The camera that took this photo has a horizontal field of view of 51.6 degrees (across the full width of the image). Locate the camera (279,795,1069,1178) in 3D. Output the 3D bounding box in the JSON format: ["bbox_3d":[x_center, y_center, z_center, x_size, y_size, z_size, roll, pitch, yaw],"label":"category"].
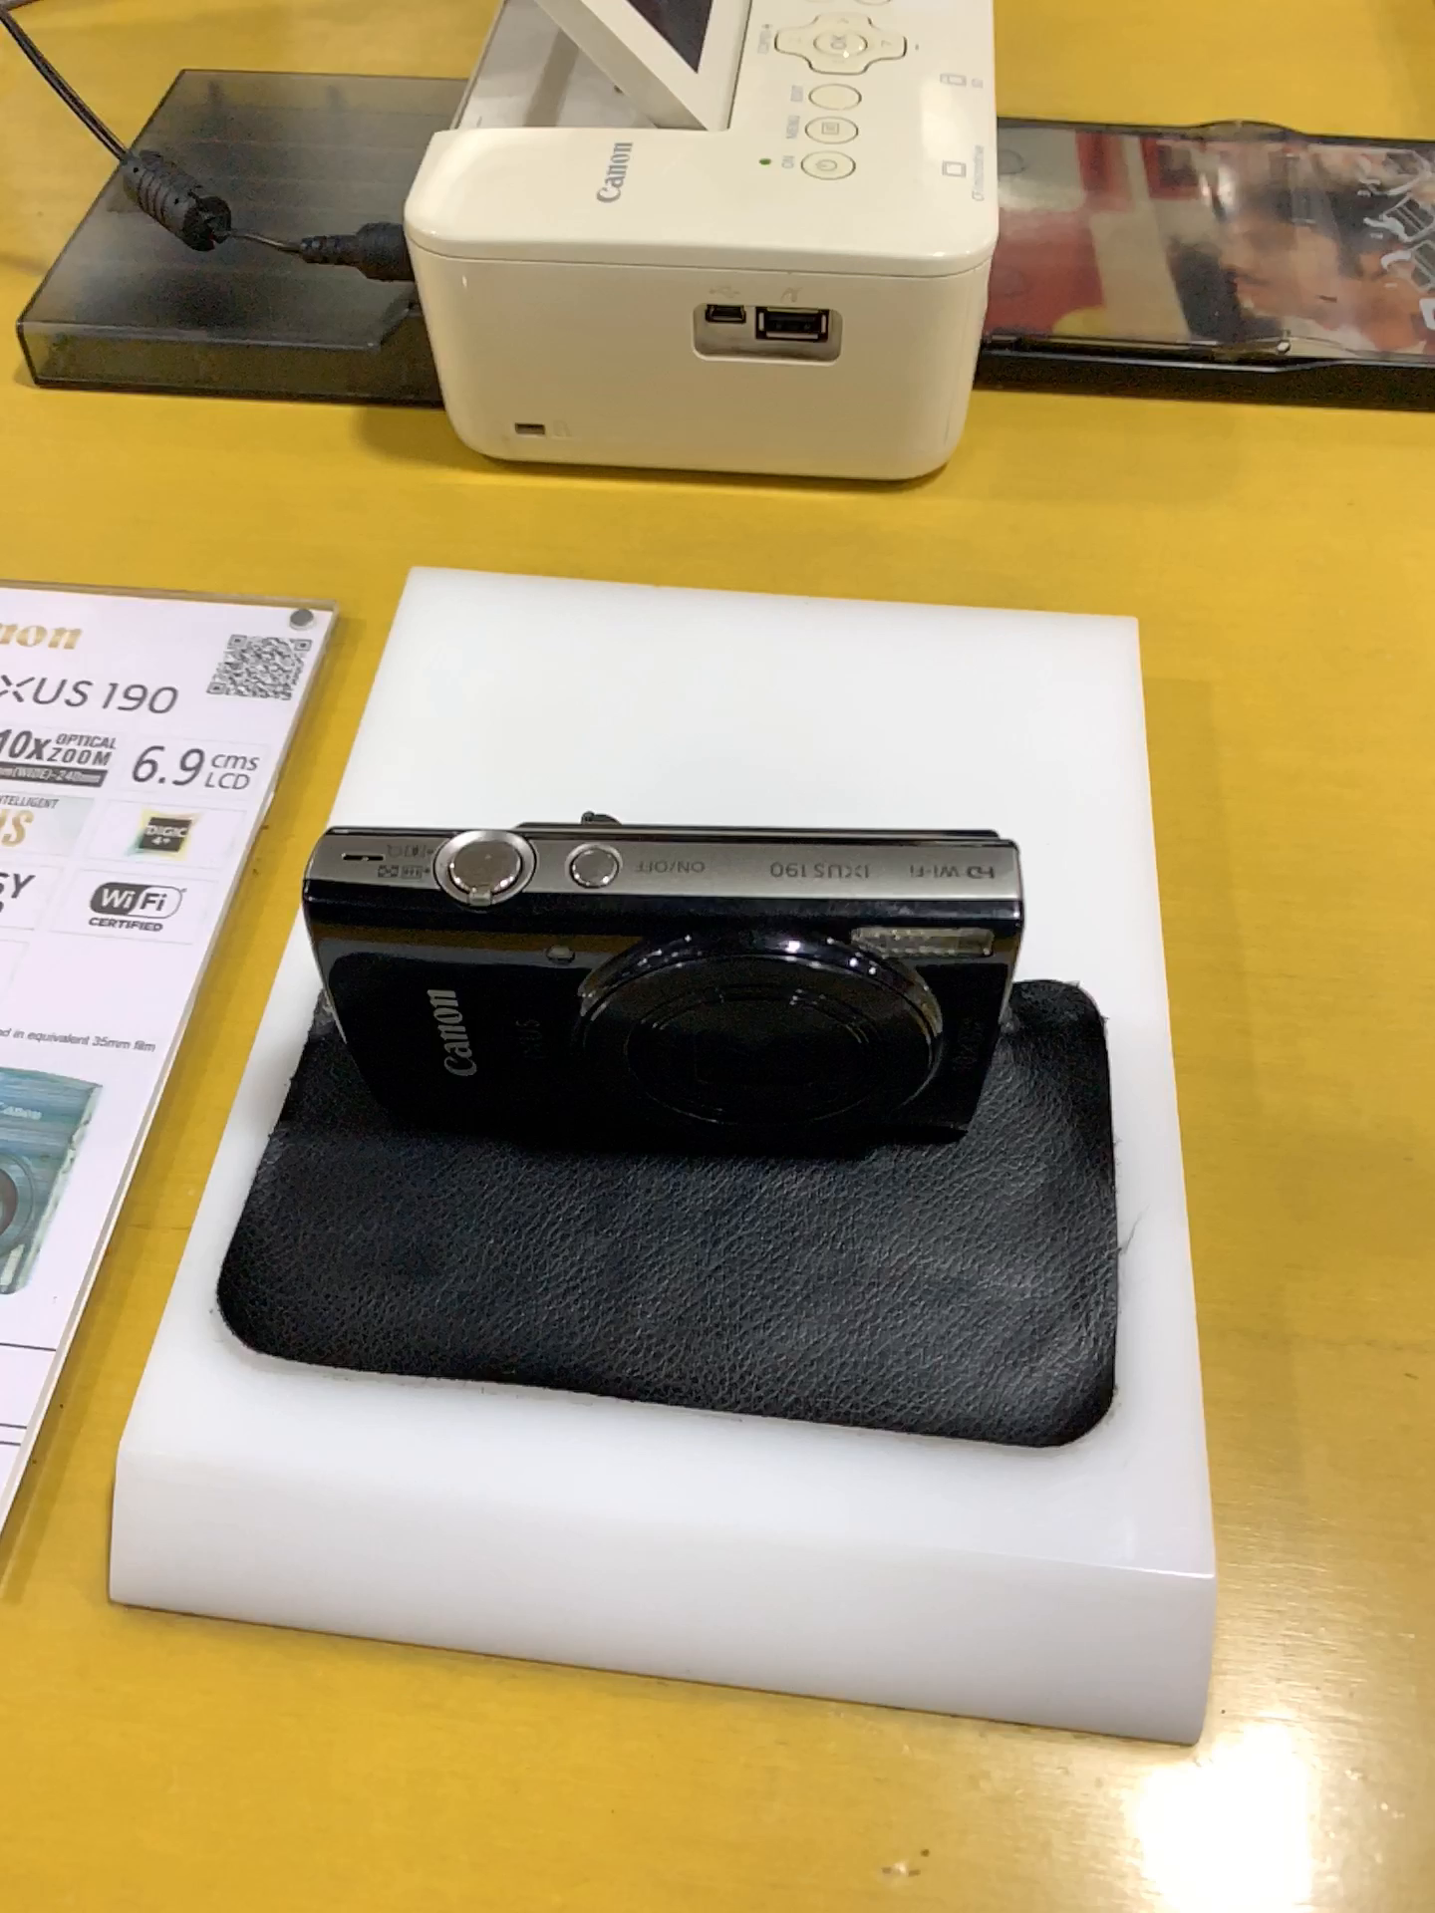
[{"bbox_3d":[-0.005,0.006,0.199,0.090,0.060,0.020,1,55,1],"label":"camera"}]
